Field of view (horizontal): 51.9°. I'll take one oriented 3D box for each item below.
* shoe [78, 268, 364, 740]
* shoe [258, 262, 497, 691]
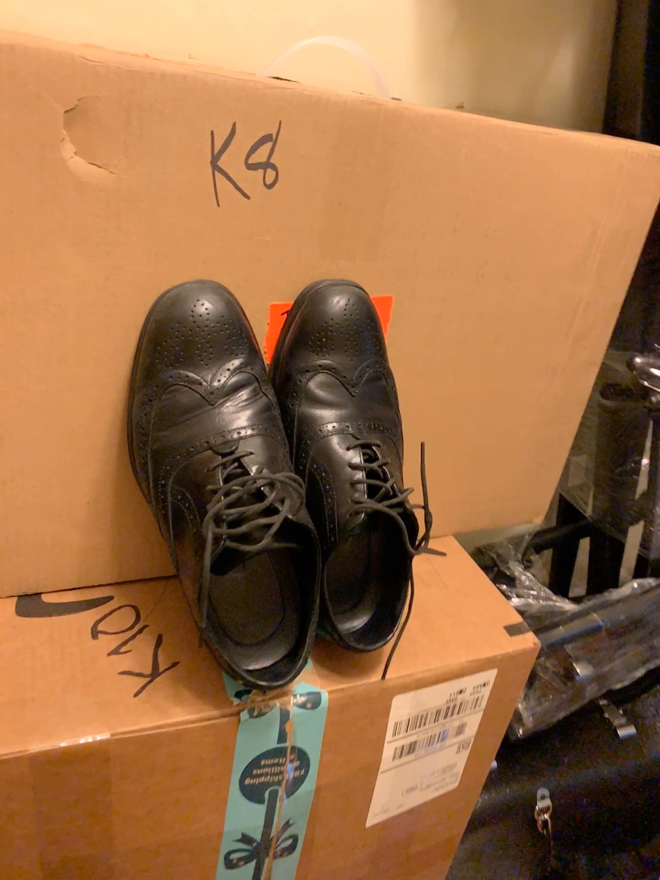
[{"bbox_3d":[-0.070,0.035,0.461,0.120,0.279,0.100,-16,19,-24],"label":"shoe"},{"bbox_3d":[0.026,0.018,0.495,0.120,0.279,0.100,-3,15,-26],"label":"shoe"}]
